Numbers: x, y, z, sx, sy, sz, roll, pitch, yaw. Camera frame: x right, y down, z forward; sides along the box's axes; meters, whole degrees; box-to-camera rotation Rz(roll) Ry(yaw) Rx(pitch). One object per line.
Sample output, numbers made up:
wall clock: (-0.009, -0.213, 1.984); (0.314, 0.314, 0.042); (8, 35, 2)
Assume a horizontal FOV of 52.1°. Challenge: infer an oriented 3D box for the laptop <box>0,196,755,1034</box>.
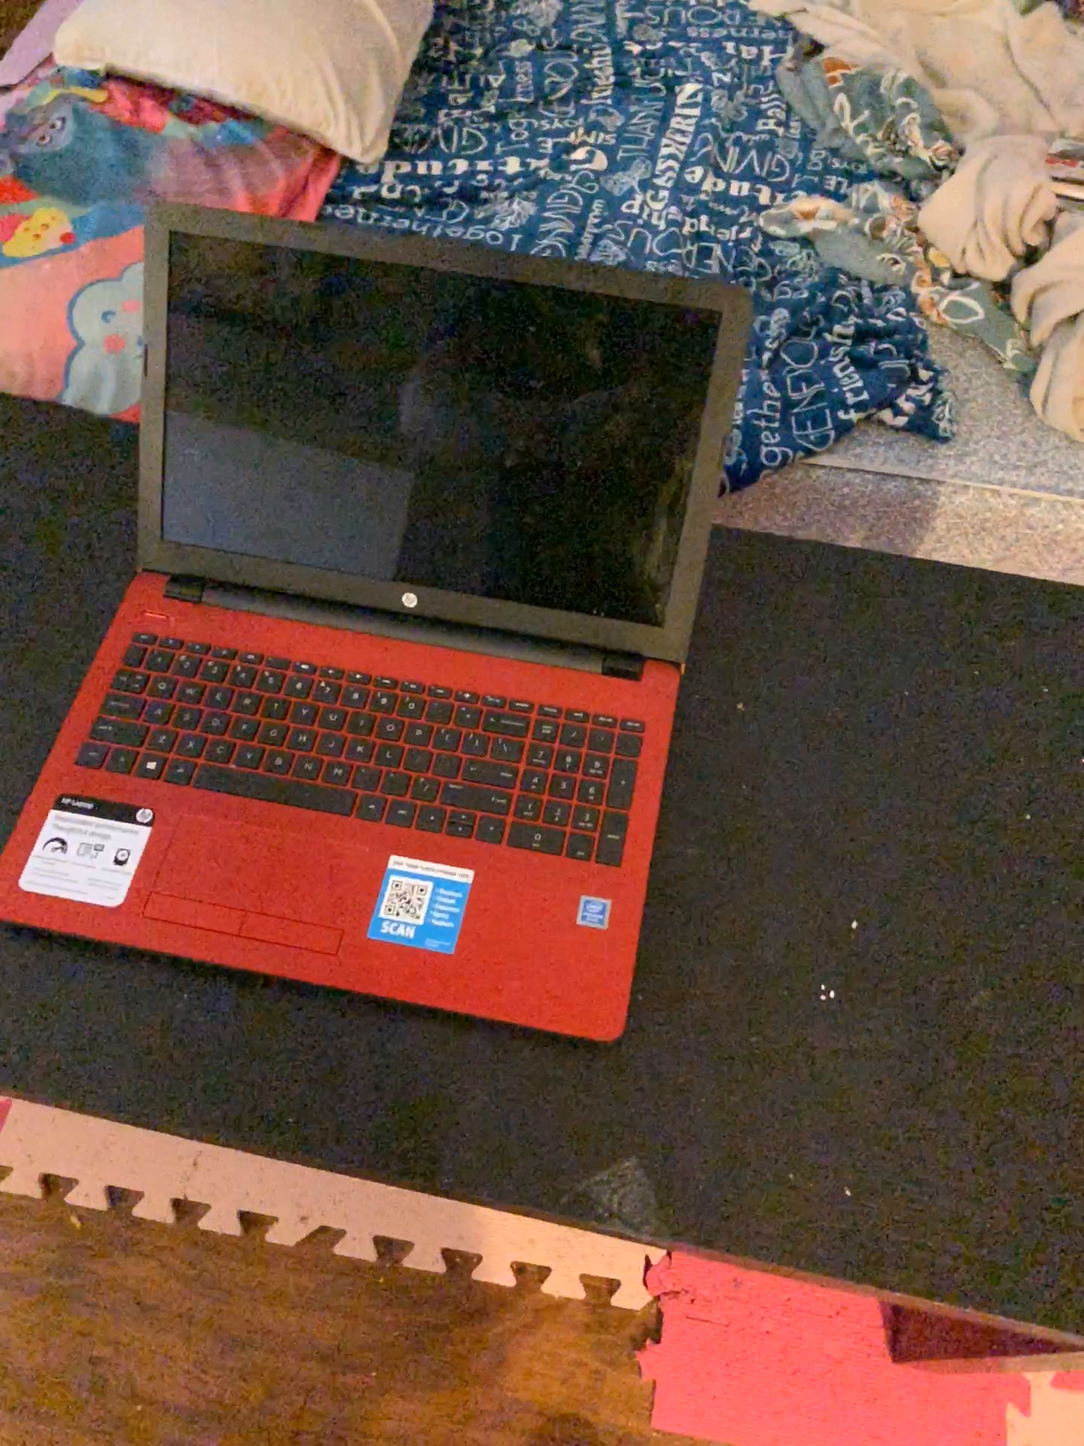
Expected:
laptop: (-0.098, -0.078, 0.650); (0.375, 0.170, 0.411); (10, 61, 5)
